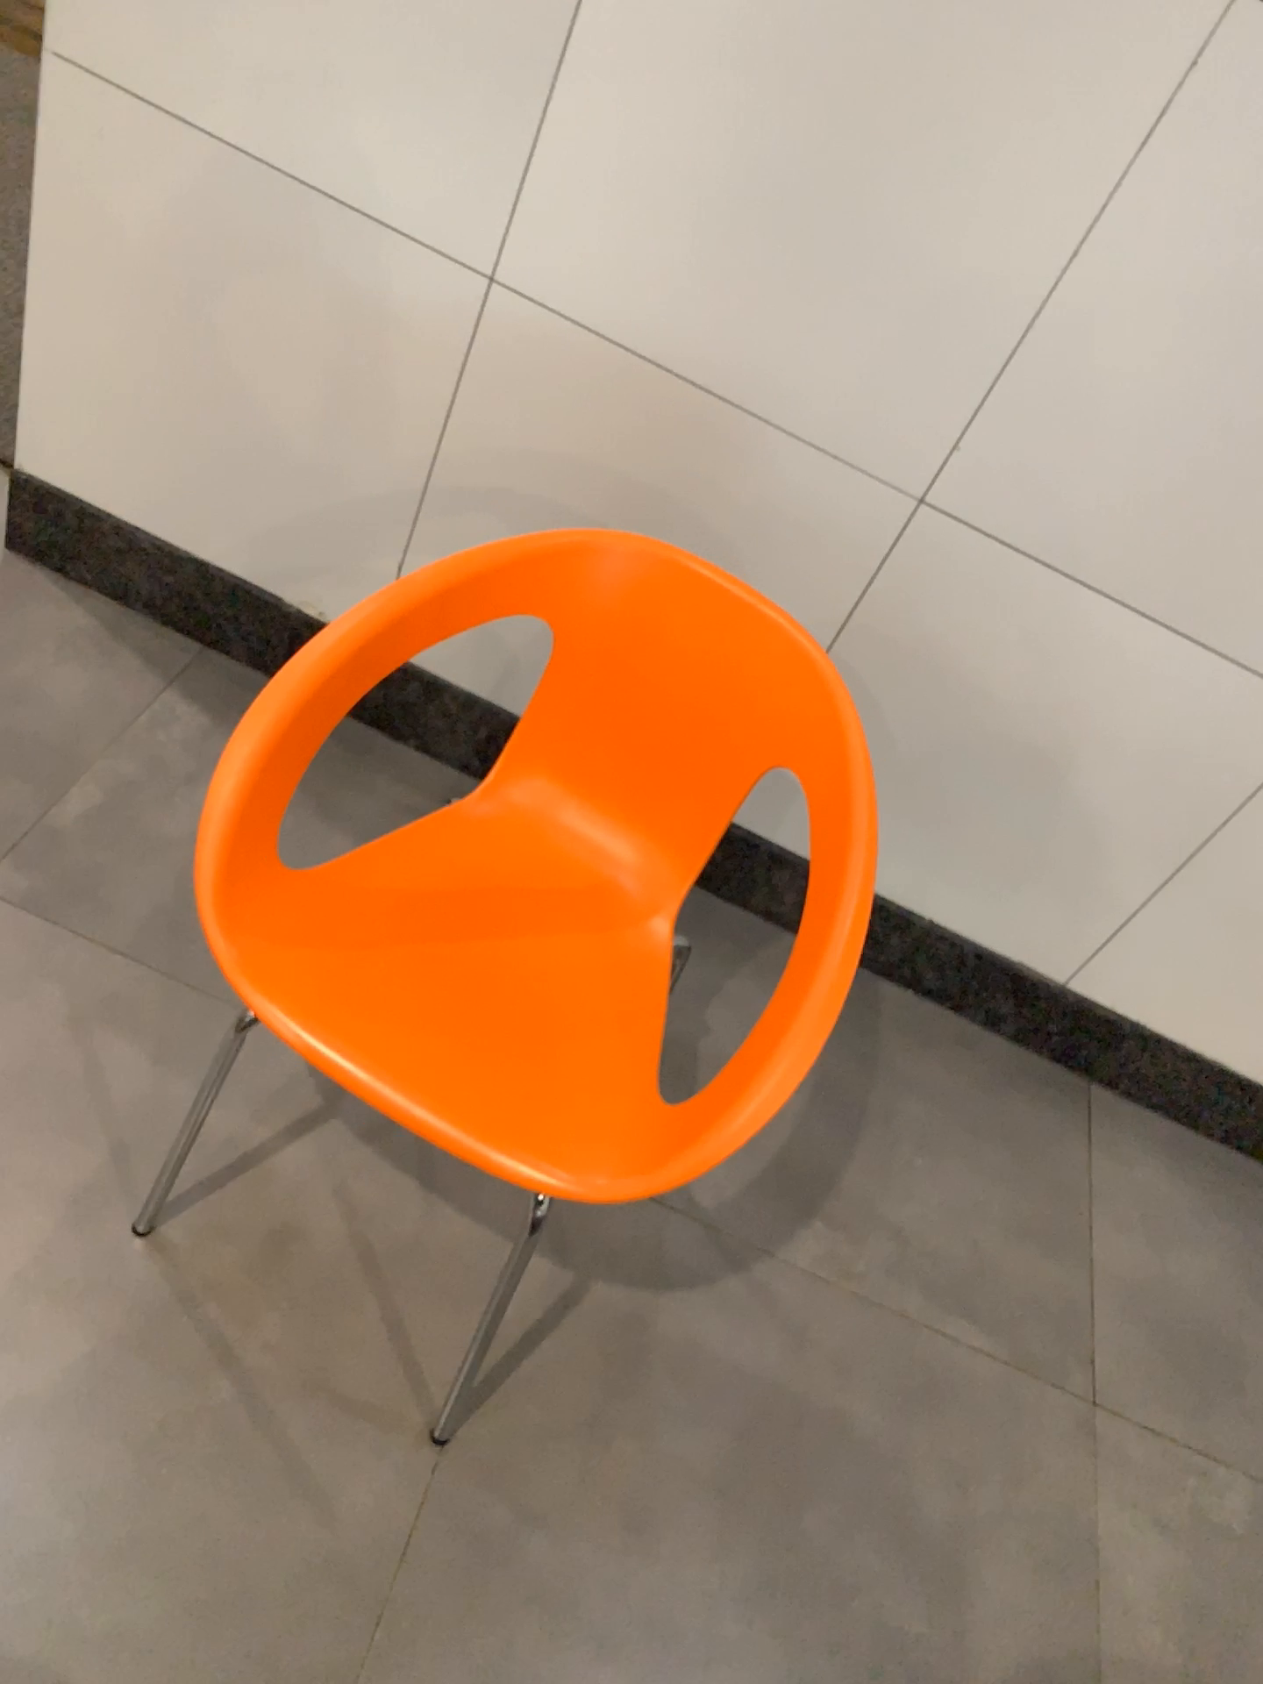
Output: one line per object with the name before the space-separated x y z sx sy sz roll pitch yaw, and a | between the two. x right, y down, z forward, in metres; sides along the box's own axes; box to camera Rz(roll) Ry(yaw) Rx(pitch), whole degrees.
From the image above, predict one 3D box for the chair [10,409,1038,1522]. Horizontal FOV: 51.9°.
chair | -0.109 0.106 1.334 0.660 0.665 0.645 33 41 4
